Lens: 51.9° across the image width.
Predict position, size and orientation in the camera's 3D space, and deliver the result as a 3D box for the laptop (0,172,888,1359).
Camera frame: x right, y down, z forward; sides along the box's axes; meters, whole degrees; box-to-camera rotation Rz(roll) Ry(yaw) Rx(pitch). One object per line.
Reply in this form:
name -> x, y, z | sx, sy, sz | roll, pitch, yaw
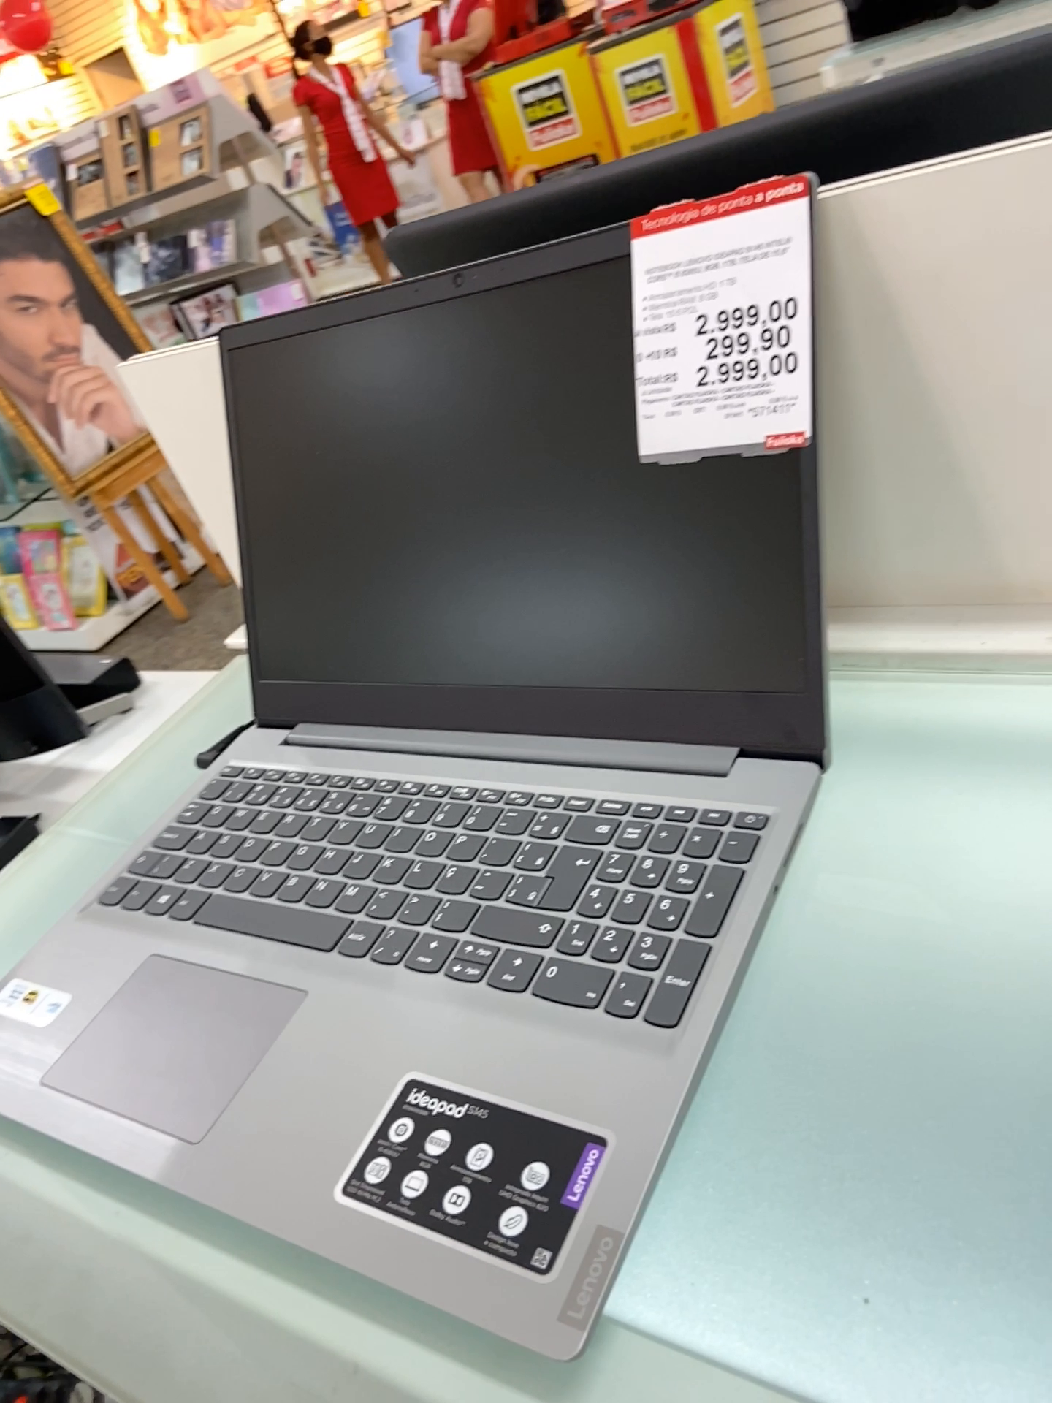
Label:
laptop -> -0.085, -0.021, 0.460 | 0.354, 0.195, 0.370 | 1, 39, 35
